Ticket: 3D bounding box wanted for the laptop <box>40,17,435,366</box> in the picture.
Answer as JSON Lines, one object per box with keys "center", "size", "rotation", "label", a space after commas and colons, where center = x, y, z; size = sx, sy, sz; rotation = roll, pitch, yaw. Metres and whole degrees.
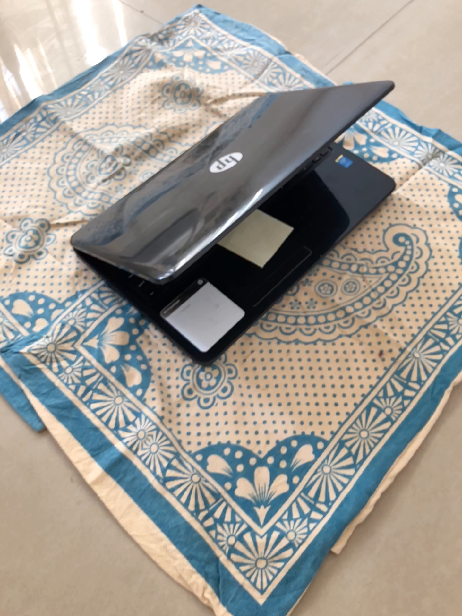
{"center": [0.010, -0.154, 0.621], "size": [0.364, 0.151, 0.236], "rotation": [-42, 65, -18], "label": "laptop"}
